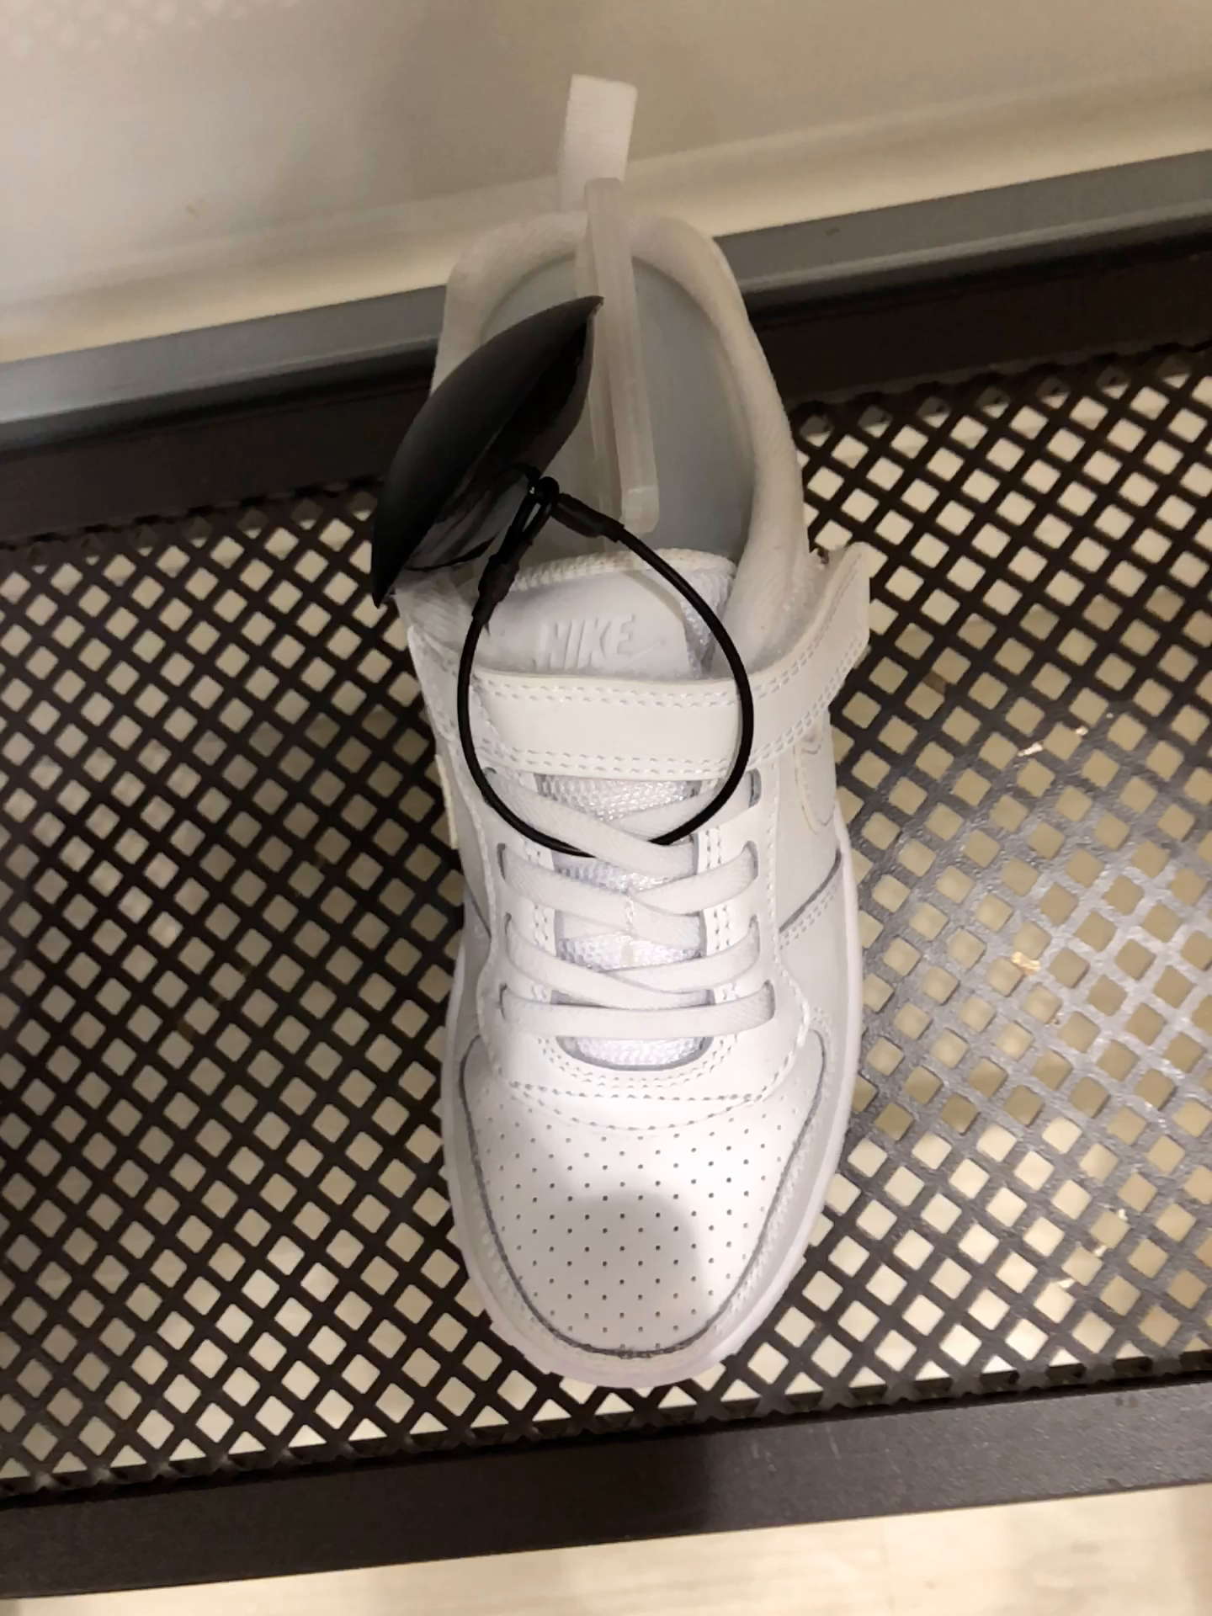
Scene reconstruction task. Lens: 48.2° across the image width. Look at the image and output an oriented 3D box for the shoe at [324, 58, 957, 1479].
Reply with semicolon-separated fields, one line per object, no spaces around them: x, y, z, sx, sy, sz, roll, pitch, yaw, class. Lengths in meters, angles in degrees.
0.010;-0.006;0.239;0.080;0.100;0.200;-1;79;7;shoe
